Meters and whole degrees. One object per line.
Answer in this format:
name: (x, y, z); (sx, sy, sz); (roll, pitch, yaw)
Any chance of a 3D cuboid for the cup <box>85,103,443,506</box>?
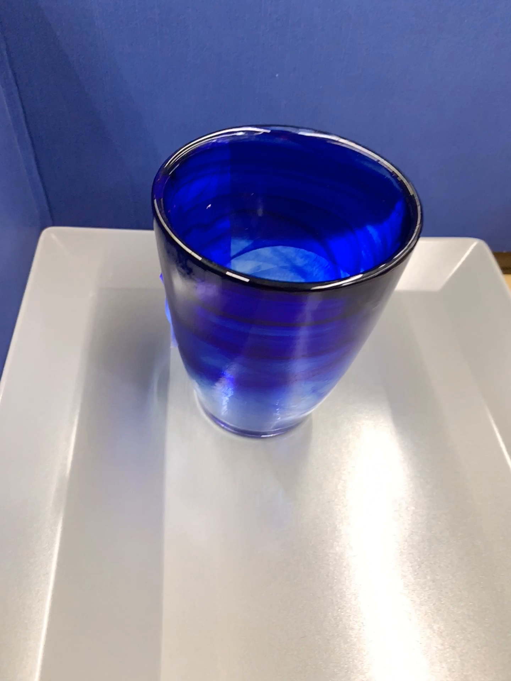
cup: (0.002, -0.014, 0.216); (0.082, 0.111, 0.088); (2, 47, -3)
